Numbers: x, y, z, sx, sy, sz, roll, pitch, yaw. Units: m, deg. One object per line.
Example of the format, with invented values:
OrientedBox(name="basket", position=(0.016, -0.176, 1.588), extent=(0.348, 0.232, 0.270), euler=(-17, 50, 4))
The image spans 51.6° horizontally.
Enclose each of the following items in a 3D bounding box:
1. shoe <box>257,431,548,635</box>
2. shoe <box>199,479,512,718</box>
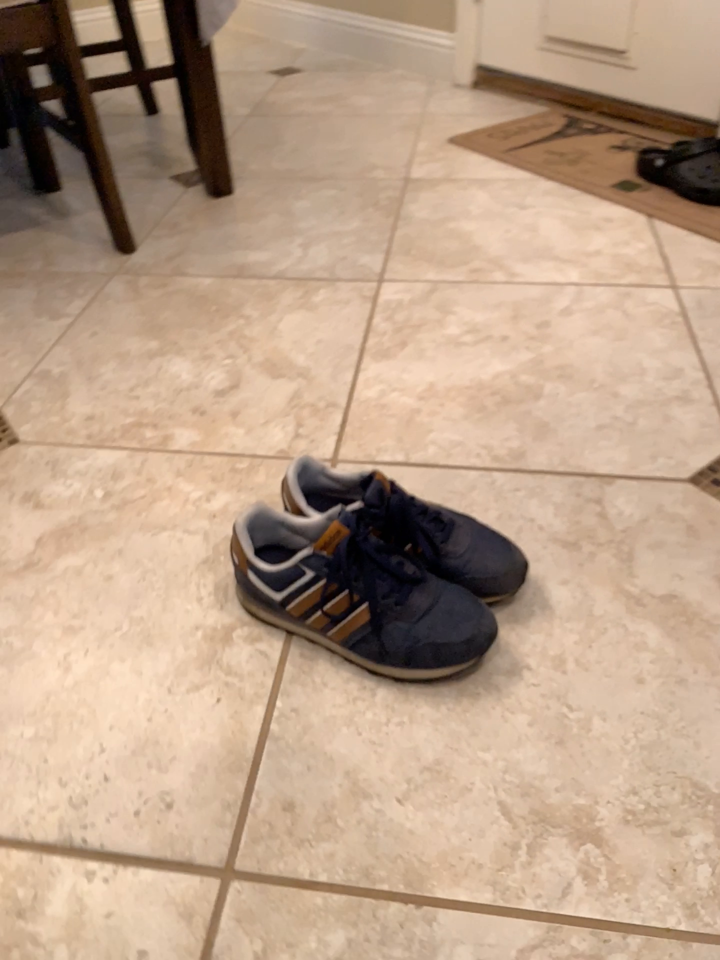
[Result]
OrientedBox(name="shoe", position=(0.045, 0.050, 0.809), extent=(0.282, 0.102, 0.112), euler=(15, 44, 20))
OrientedBox(name="shoe", position=(-0.006, 0.109, 0.742), extent=(0.283, 0.102, 0.107), euler=(18, 45, 22))
